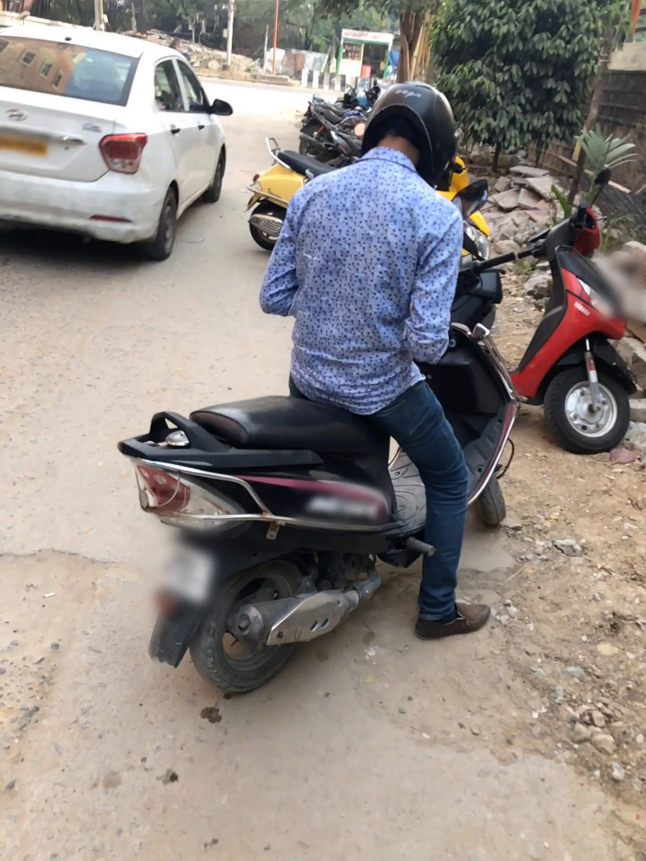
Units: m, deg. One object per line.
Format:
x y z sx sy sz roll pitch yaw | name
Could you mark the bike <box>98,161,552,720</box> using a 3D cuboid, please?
0.061 -0.145 2.217 0.560 1.054 1.480 23 34 28 | bike
